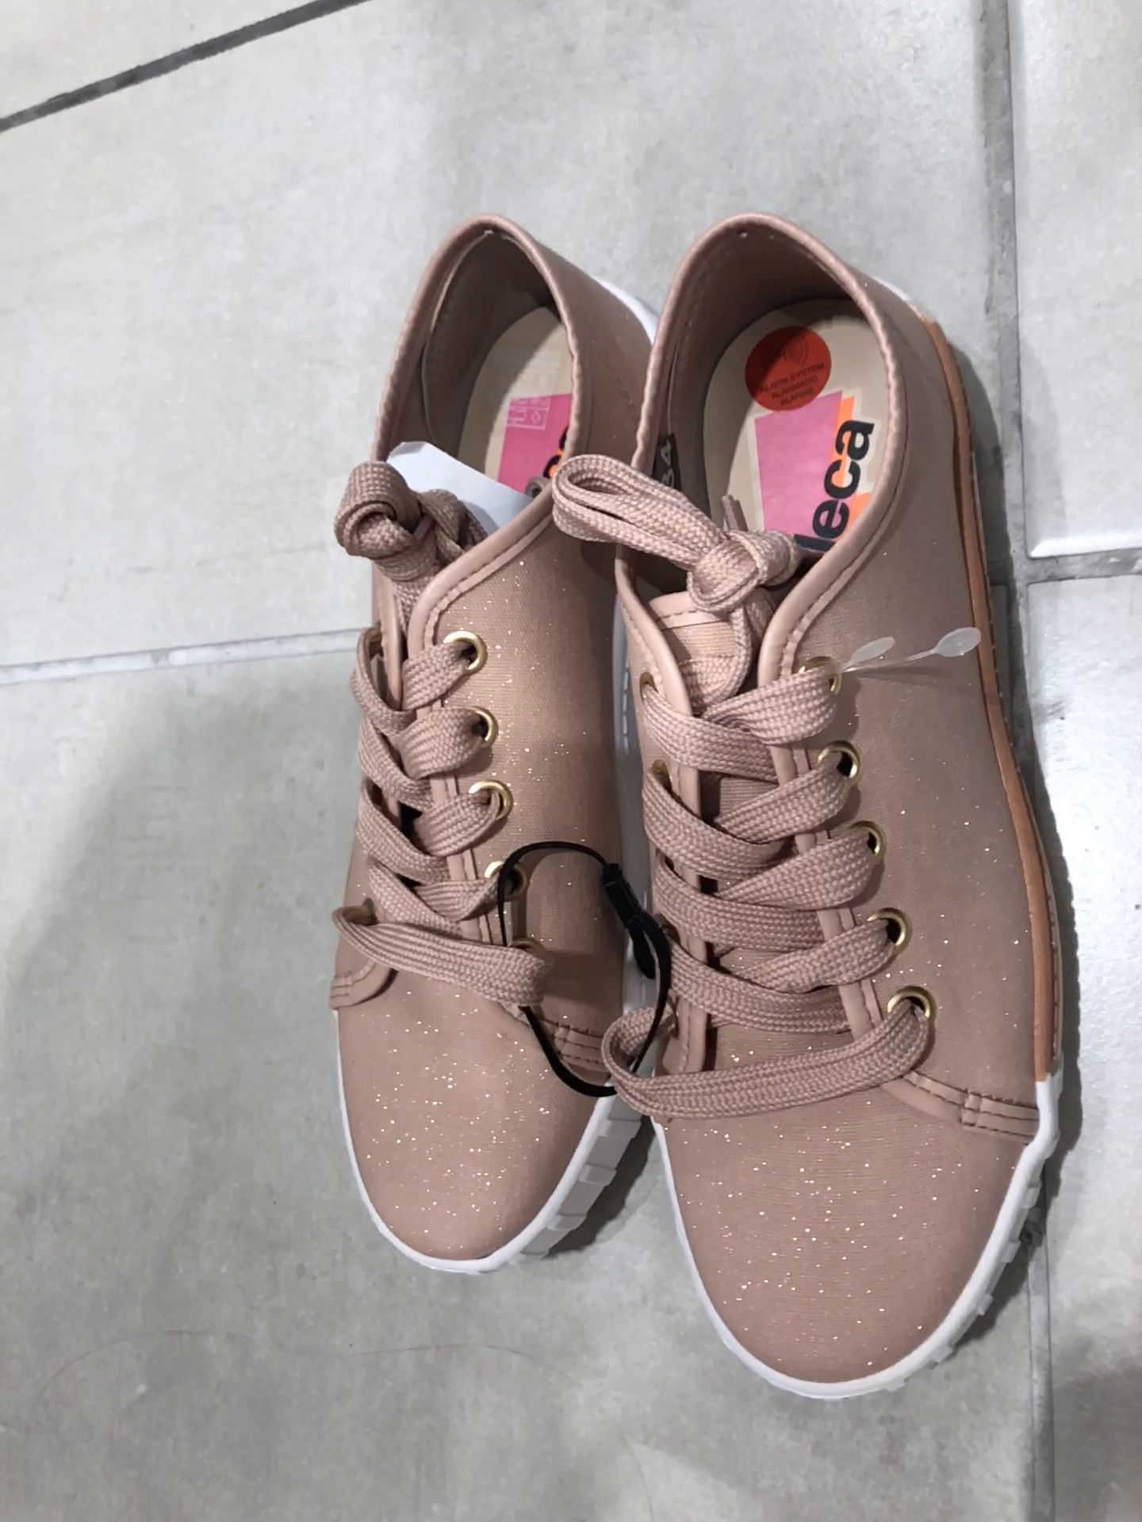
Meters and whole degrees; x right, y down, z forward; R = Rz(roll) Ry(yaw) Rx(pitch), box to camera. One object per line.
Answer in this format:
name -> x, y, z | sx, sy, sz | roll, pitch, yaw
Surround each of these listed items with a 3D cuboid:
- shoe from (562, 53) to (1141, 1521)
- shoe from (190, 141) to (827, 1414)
shoe -> 0.061, 0.012, 0.255 | 0.090, 0.100, 0.240 | -3, 82, 26
shoe -> -0.007, 0.002, 0.303 | 0.090, 0.100, 0.240 | 4, 85, 27
